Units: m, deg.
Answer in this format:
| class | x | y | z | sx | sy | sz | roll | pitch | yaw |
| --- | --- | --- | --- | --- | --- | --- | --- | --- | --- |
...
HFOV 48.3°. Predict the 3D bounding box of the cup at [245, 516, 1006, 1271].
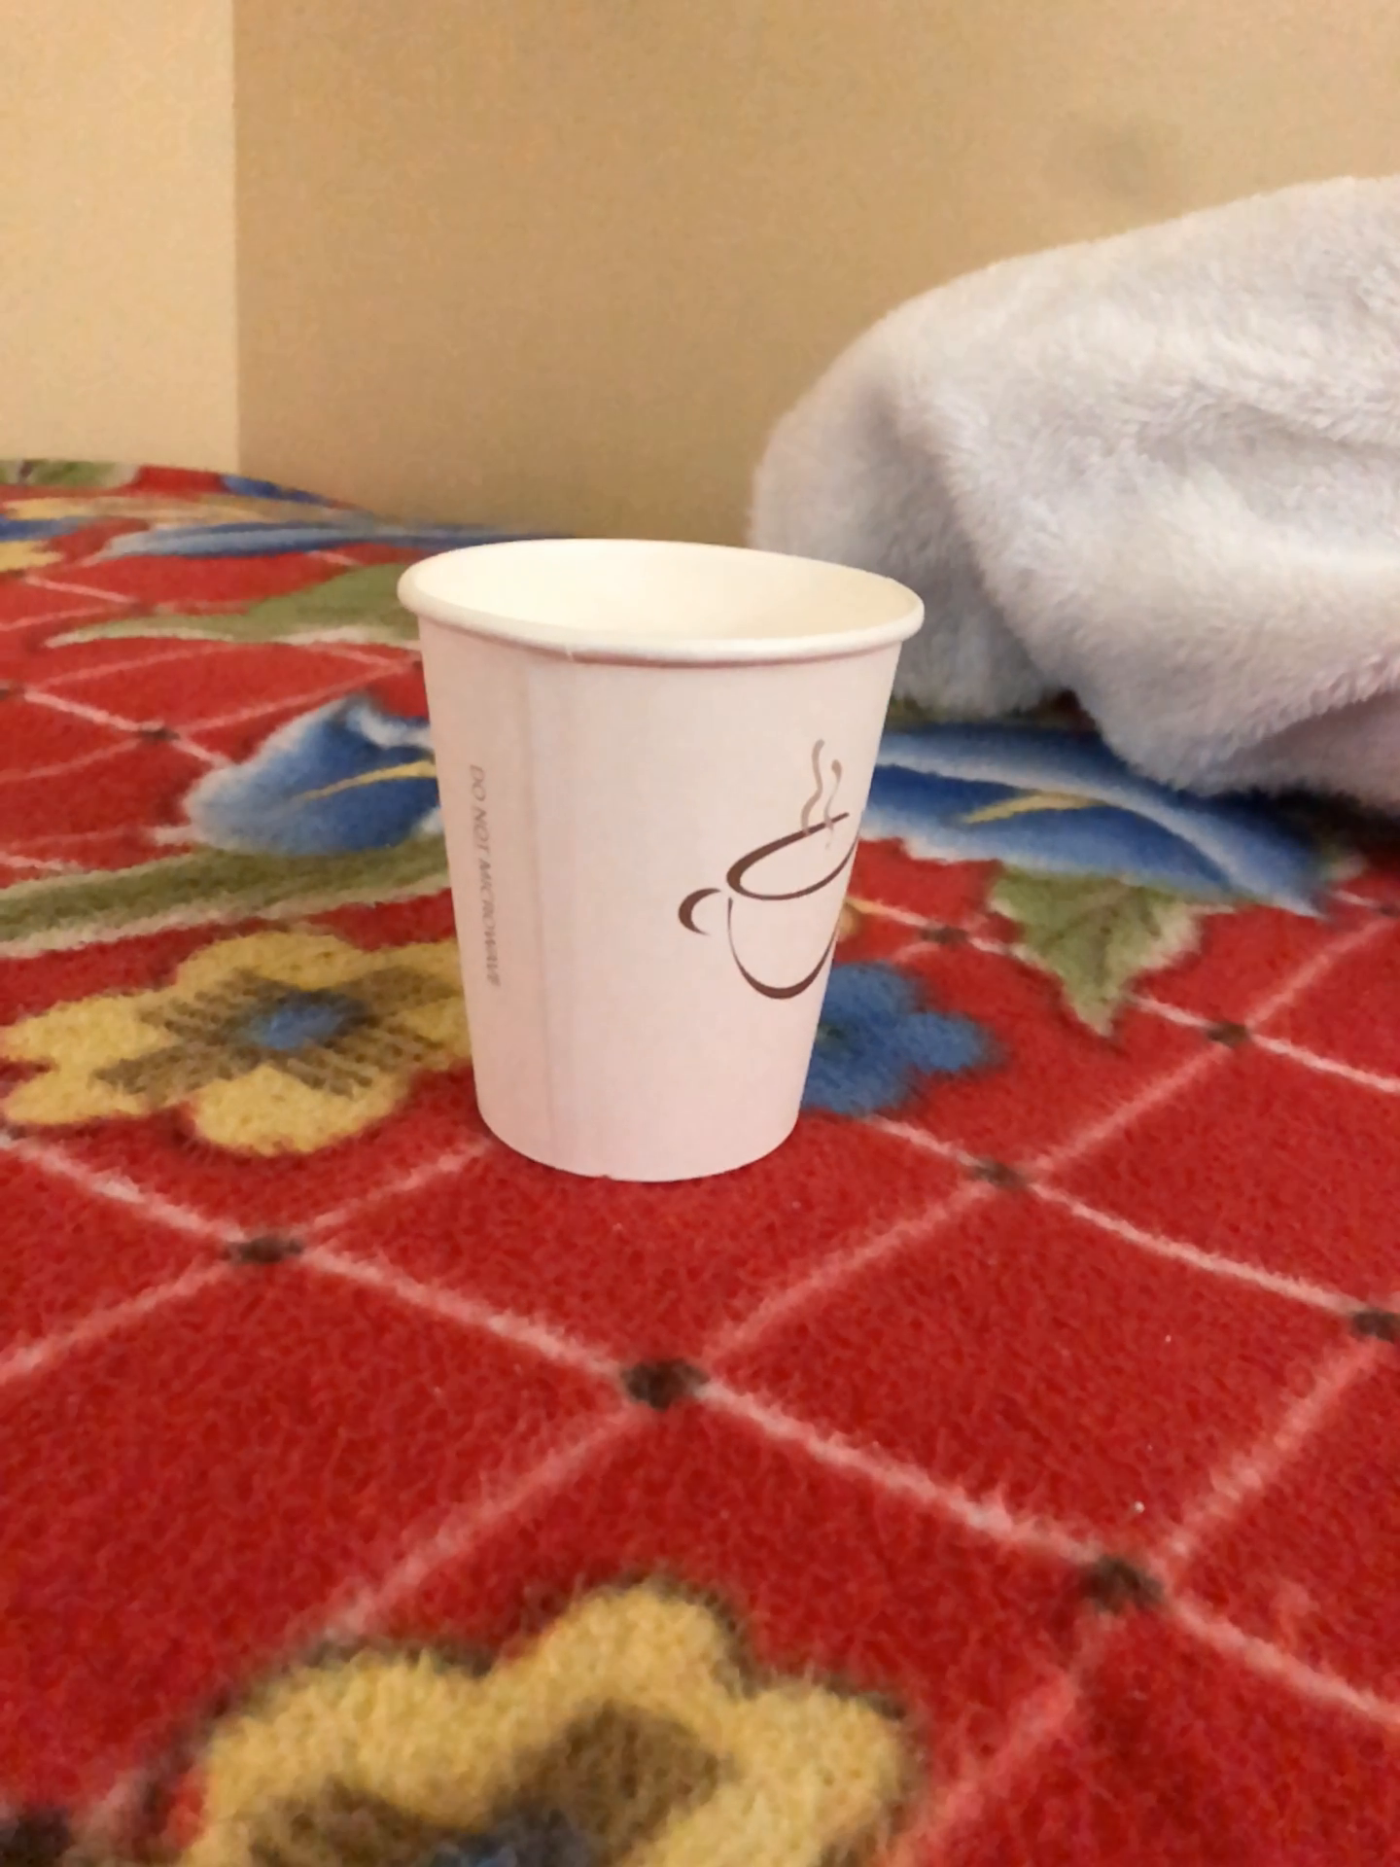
| class | x | y | z | sx | sy | sz | roll | pitch | yaw |
| --- | --- | --- | --- | --- | --- | --- | --- | --- | --- |
| cup | -0.016 | -0.016 | 0.264 | 0.090 | 0.090 | 0.080 | -15 | 32 | -40 |
